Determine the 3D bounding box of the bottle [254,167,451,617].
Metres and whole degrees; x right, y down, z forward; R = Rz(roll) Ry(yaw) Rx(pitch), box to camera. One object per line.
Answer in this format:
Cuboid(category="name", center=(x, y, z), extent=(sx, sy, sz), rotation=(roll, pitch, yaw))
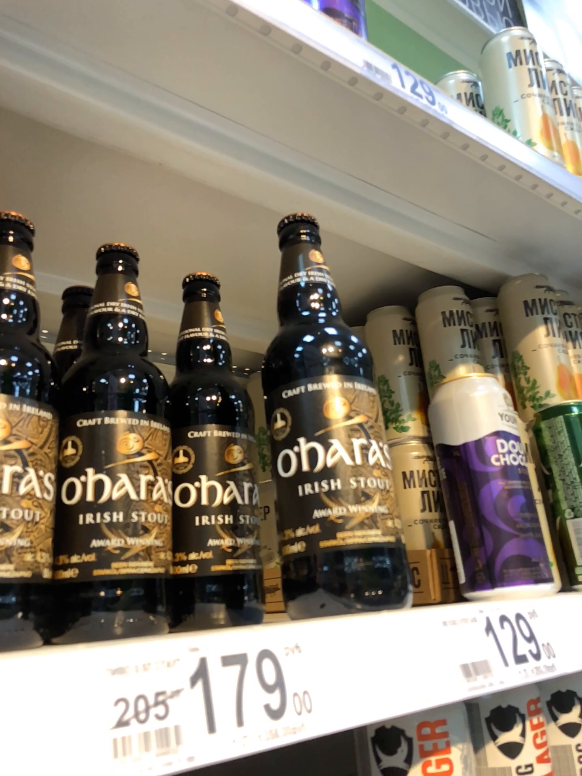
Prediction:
Cuboid(category="bottle", center=(0.026, -0.001, 0.363), extent=(0.070, 0.241, 0.070), rotation=(-4, -19, -1))
